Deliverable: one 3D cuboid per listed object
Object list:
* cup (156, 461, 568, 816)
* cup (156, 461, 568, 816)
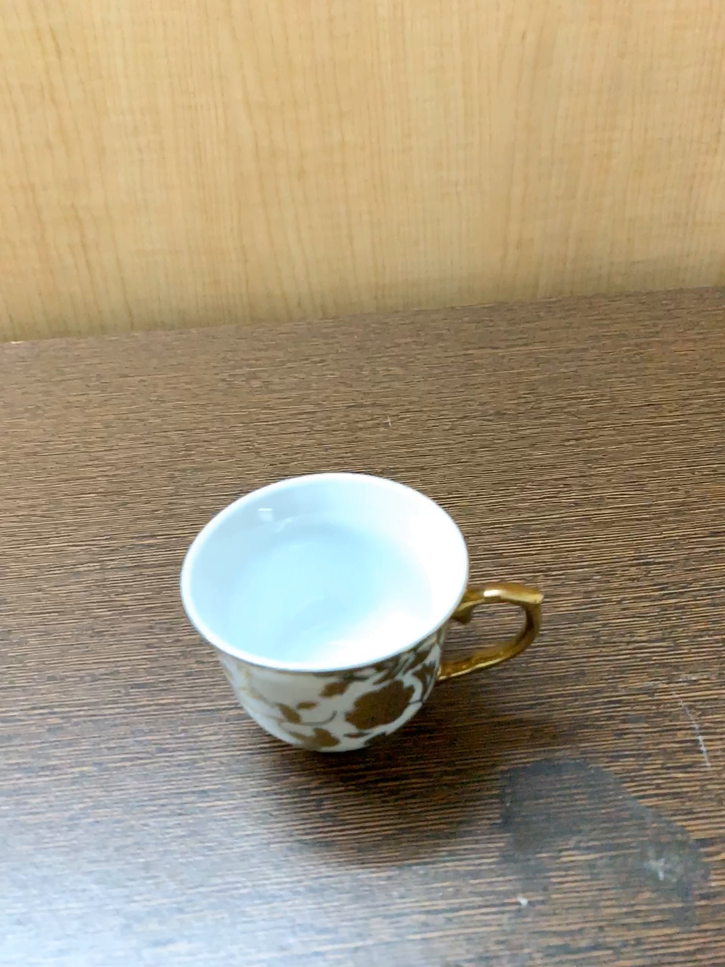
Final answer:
[{"bbox_3d":[0.001,0.036,0.189,0.080,0.050,0.071,-2,36,2],"label":"cup"},{"bbox_3d":[0.001,0.036,0.189,0.080,0.050,0.071,-2,36,2],"label":"cup"}]
